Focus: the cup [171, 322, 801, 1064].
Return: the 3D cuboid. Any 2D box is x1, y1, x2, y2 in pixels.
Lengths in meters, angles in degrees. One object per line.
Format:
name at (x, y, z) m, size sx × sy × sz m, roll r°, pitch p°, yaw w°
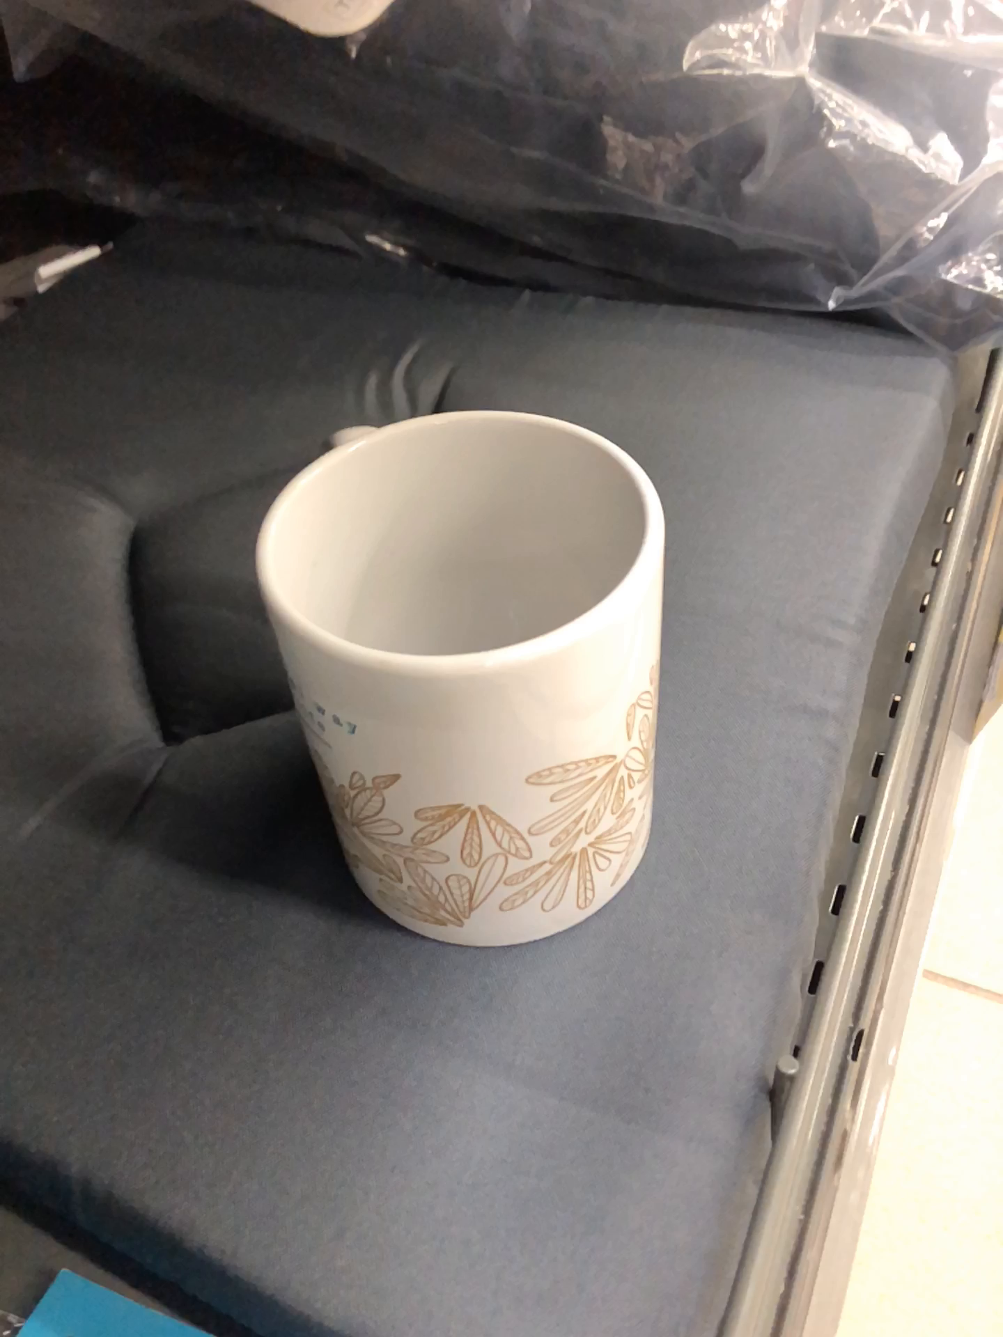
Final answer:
cup at (-0.007, 0.001, 0.265) m, size 0.090 × 0.099 × 0.120 m, roll -21°, pitch 48°, yaw -13°
